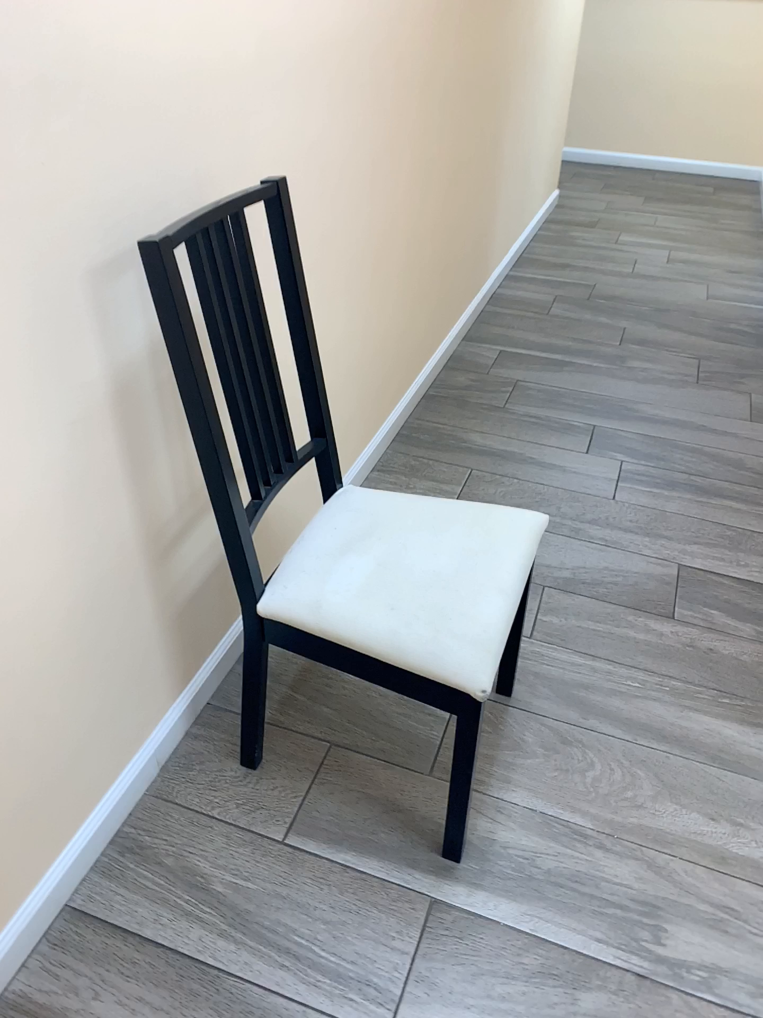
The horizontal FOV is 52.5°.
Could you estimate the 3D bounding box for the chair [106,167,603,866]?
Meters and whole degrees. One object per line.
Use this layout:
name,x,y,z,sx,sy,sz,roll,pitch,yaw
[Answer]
chair,-0.012,0.033,1.251,0.497,0.962,0.441,13,37,15
